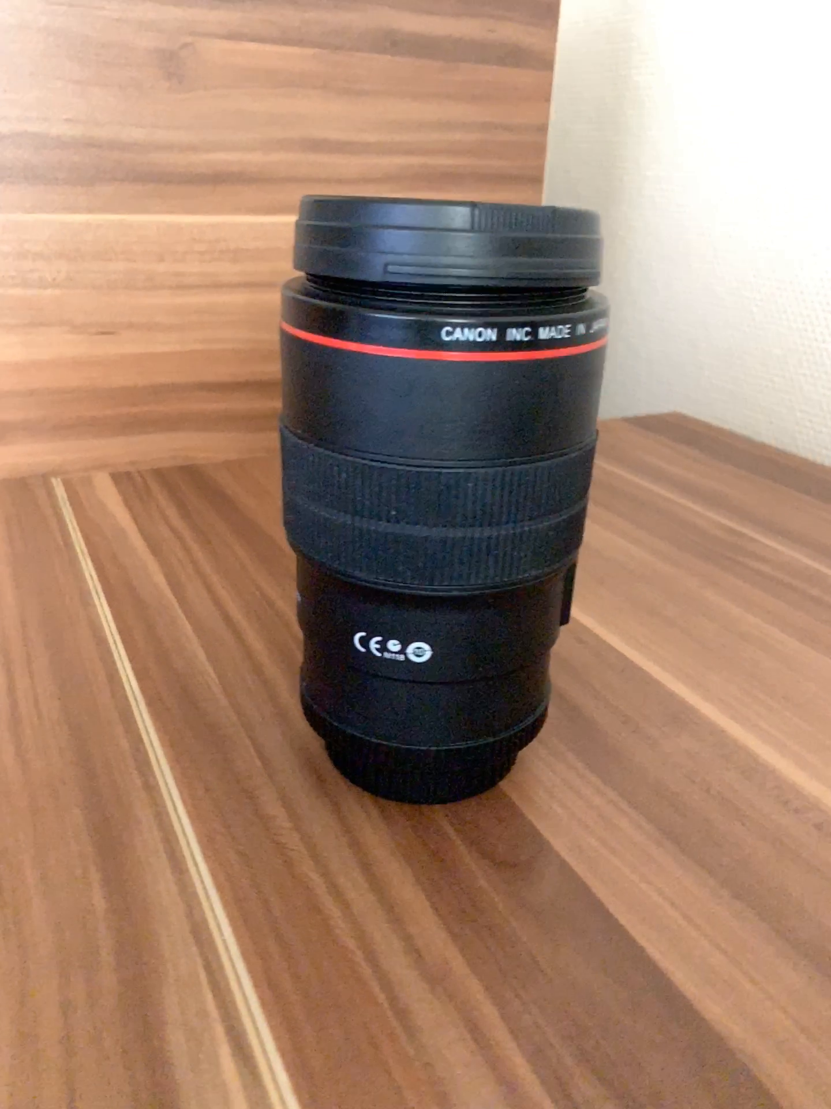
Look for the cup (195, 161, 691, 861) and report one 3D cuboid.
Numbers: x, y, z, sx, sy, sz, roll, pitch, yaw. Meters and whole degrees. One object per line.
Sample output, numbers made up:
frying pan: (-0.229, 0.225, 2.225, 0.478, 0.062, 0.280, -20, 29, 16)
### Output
cup: (0.002, -0.018, 0.213, 0.070, 0.139, 0.080, -19, 32, -39)
